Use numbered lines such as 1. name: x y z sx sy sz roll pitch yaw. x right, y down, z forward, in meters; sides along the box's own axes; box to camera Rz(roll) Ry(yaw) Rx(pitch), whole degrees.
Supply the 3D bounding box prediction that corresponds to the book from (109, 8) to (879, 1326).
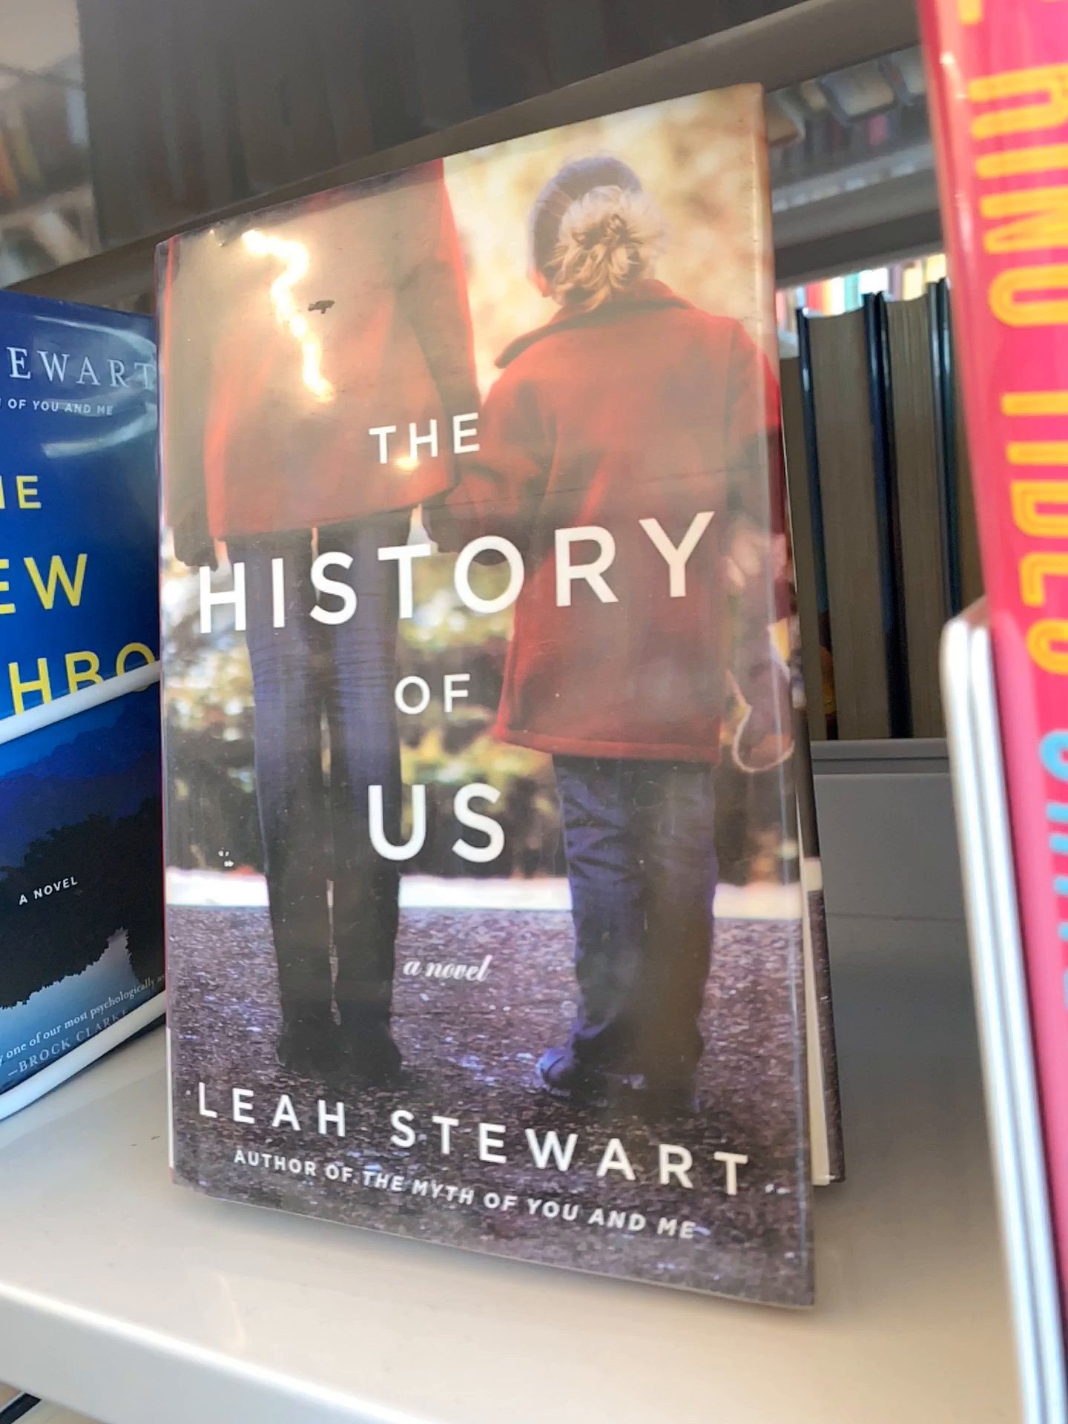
1. book: -0.016 -0.005 0.238 0.153 0.220 0.040 -4 -2 28
